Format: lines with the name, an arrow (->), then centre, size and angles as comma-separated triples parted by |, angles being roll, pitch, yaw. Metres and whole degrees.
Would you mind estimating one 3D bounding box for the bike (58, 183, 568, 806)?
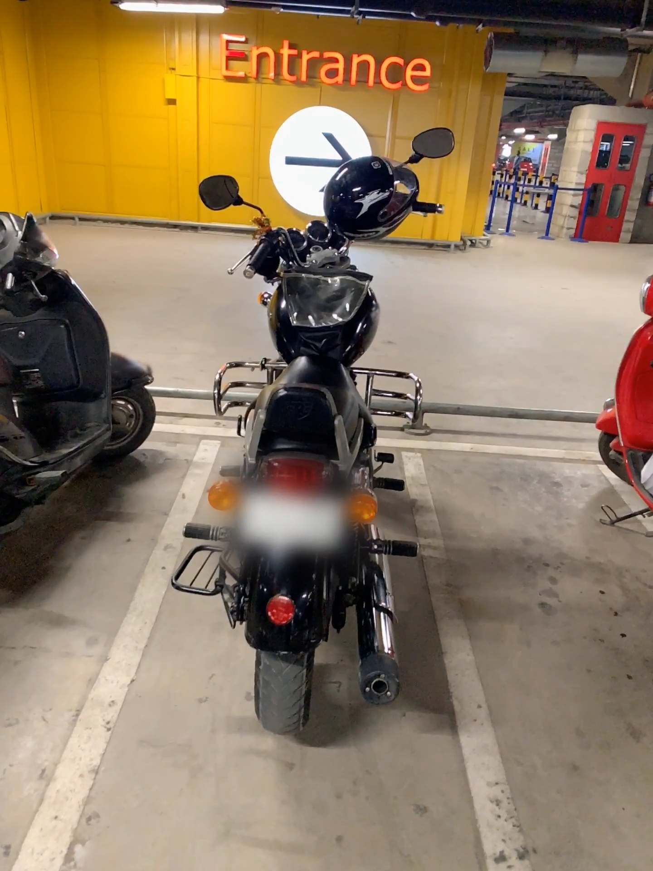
bike -> -0.121, -0.136, 2.276 | 0.828, 1.228, 2.087 | 3, 23, -4
